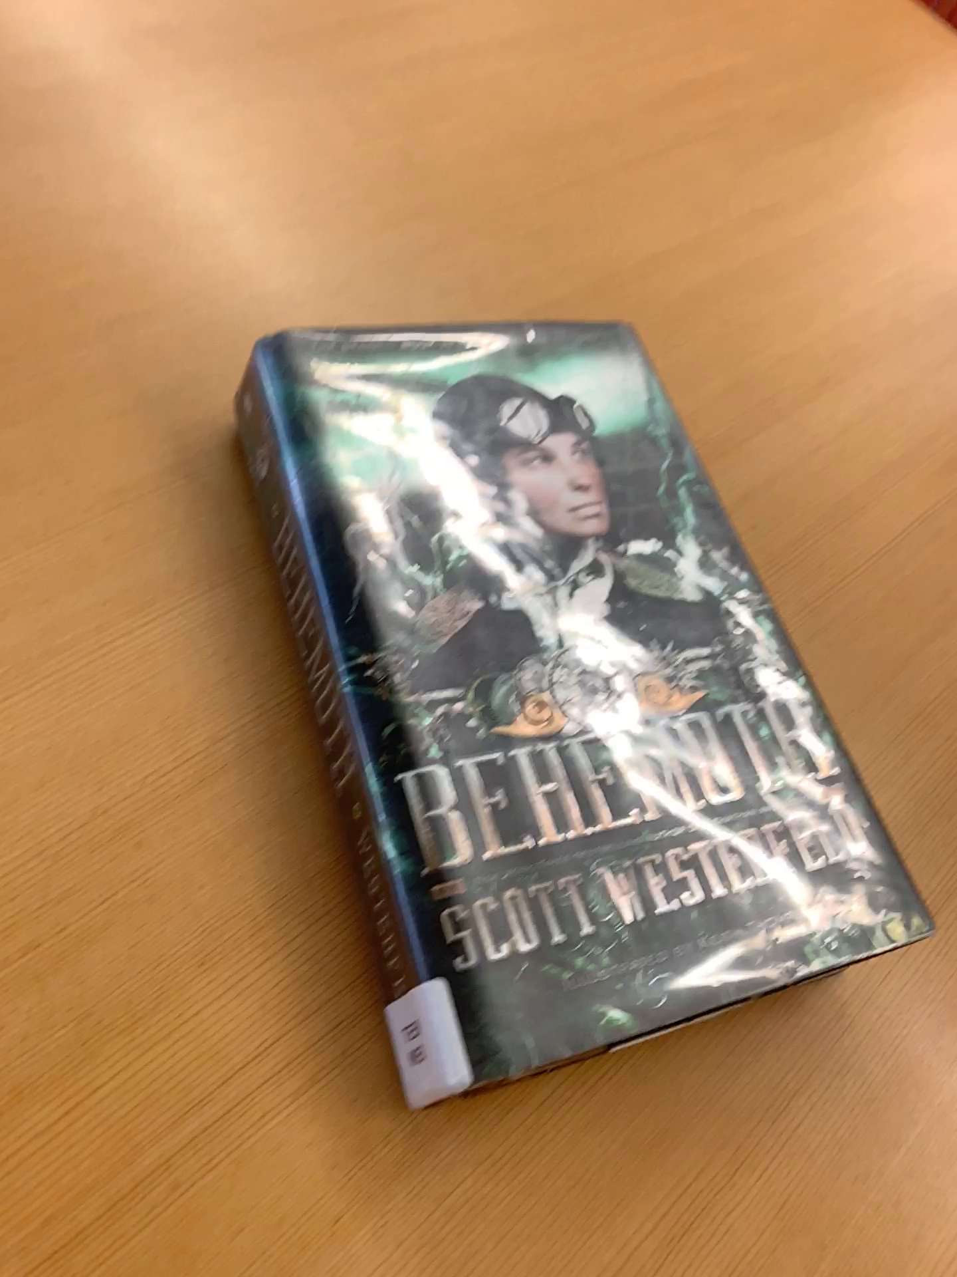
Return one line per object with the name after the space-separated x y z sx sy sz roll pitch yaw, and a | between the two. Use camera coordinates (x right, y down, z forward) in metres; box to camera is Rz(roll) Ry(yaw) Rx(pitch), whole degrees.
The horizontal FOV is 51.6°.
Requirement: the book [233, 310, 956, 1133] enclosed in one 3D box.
0.023 0.003 0.316 0.150 0.050 0.241 -9 63 -21 | book
